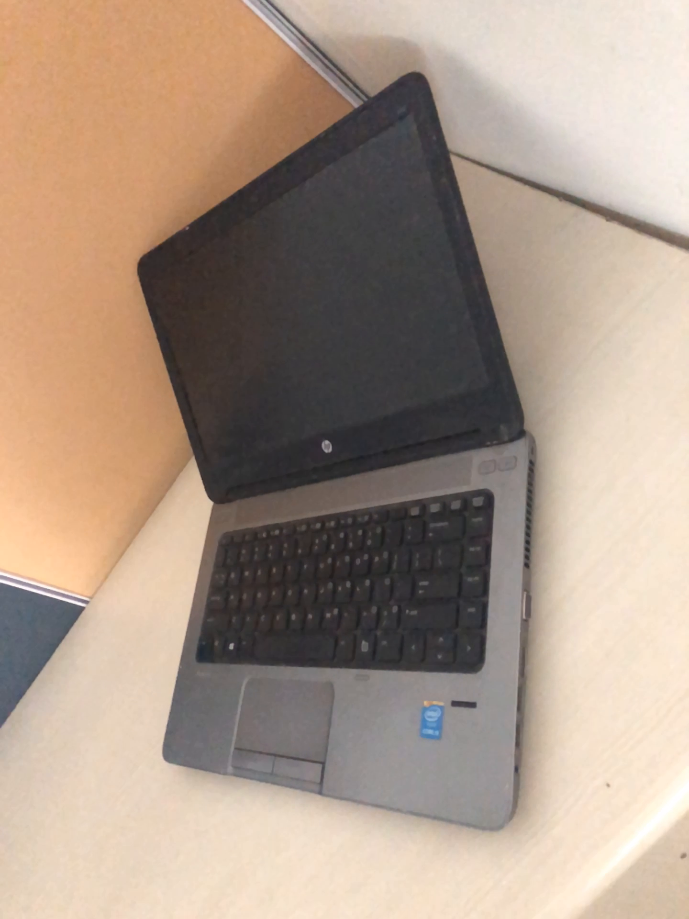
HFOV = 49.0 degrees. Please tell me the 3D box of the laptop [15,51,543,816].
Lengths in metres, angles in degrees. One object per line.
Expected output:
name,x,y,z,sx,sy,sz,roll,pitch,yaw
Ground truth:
laptop,-0.047,-0.003,0.515,0.317,0.125,0.391,-14,60,45
